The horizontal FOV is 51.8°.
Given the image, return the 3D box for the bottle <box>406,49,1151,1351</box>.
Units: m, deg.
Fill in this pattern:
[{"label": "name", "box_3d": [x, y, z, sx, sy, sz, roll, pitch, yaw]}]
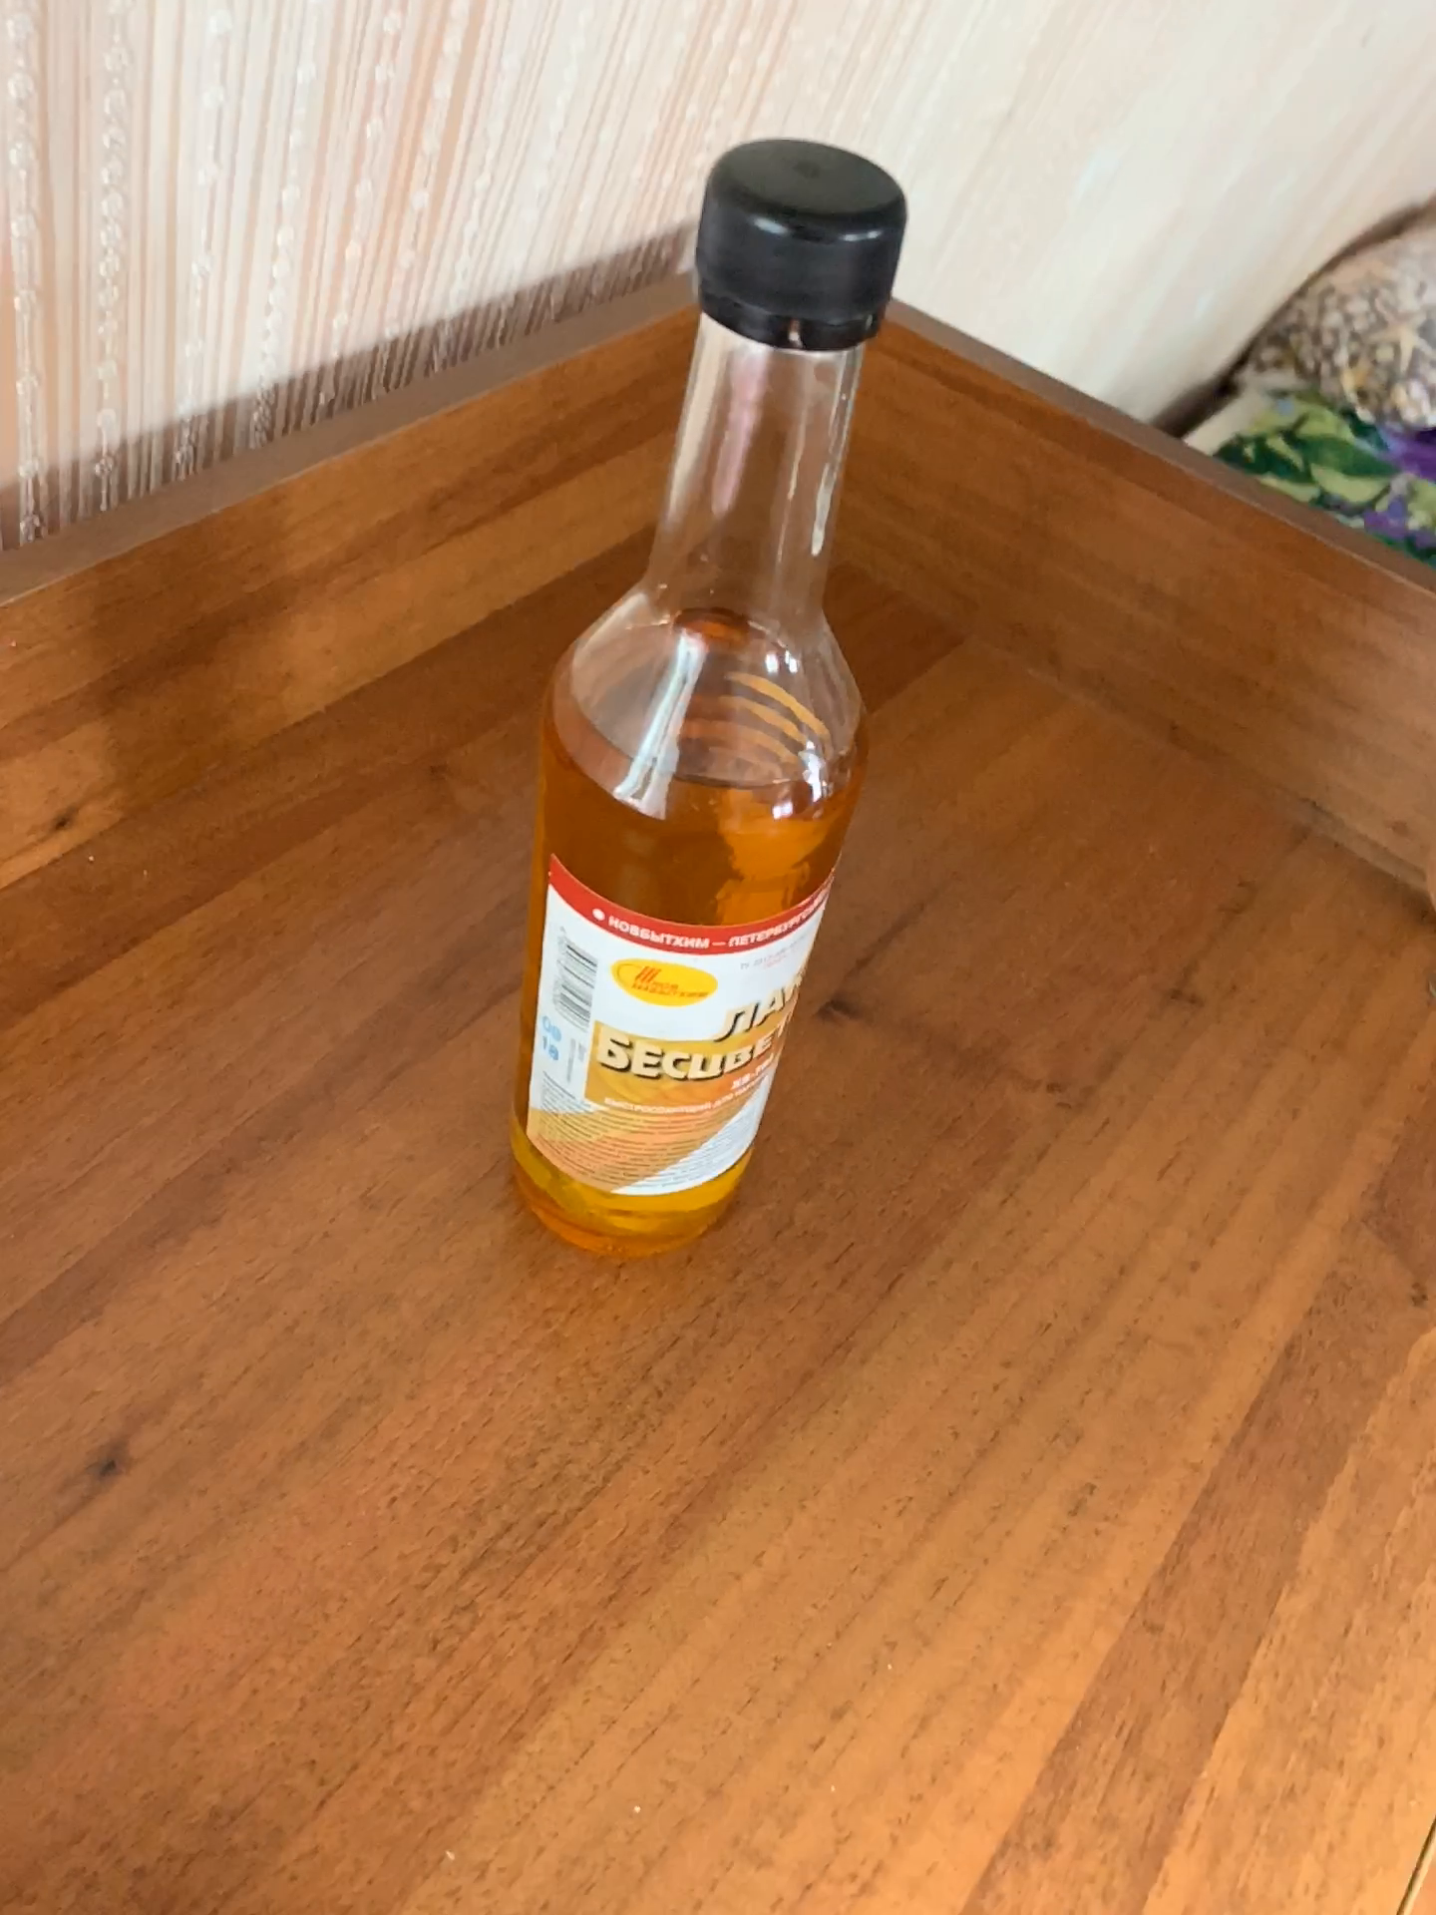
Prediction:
[{"label": "bottle", "box_3d": [-0.008, -0.028, 0.306, 0.070, 0.258, 0.081, 39, 52, 21]}]
